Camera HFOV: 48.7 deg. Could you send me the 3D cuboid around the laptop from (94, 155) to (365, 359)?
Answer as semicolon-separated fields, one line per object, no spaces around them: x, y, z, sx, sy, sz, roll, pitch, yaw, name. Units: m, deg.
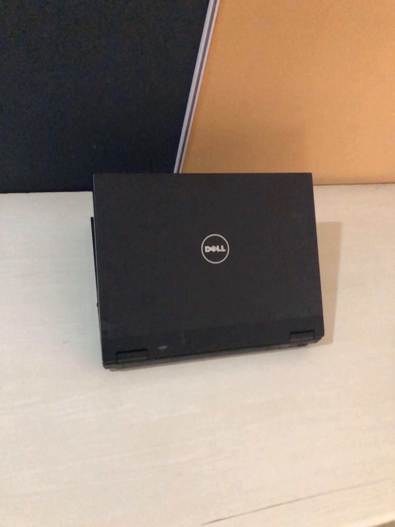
0.023;-0.021;0.595;0.303;0.126;0.225;-4;57;-16;laptop
